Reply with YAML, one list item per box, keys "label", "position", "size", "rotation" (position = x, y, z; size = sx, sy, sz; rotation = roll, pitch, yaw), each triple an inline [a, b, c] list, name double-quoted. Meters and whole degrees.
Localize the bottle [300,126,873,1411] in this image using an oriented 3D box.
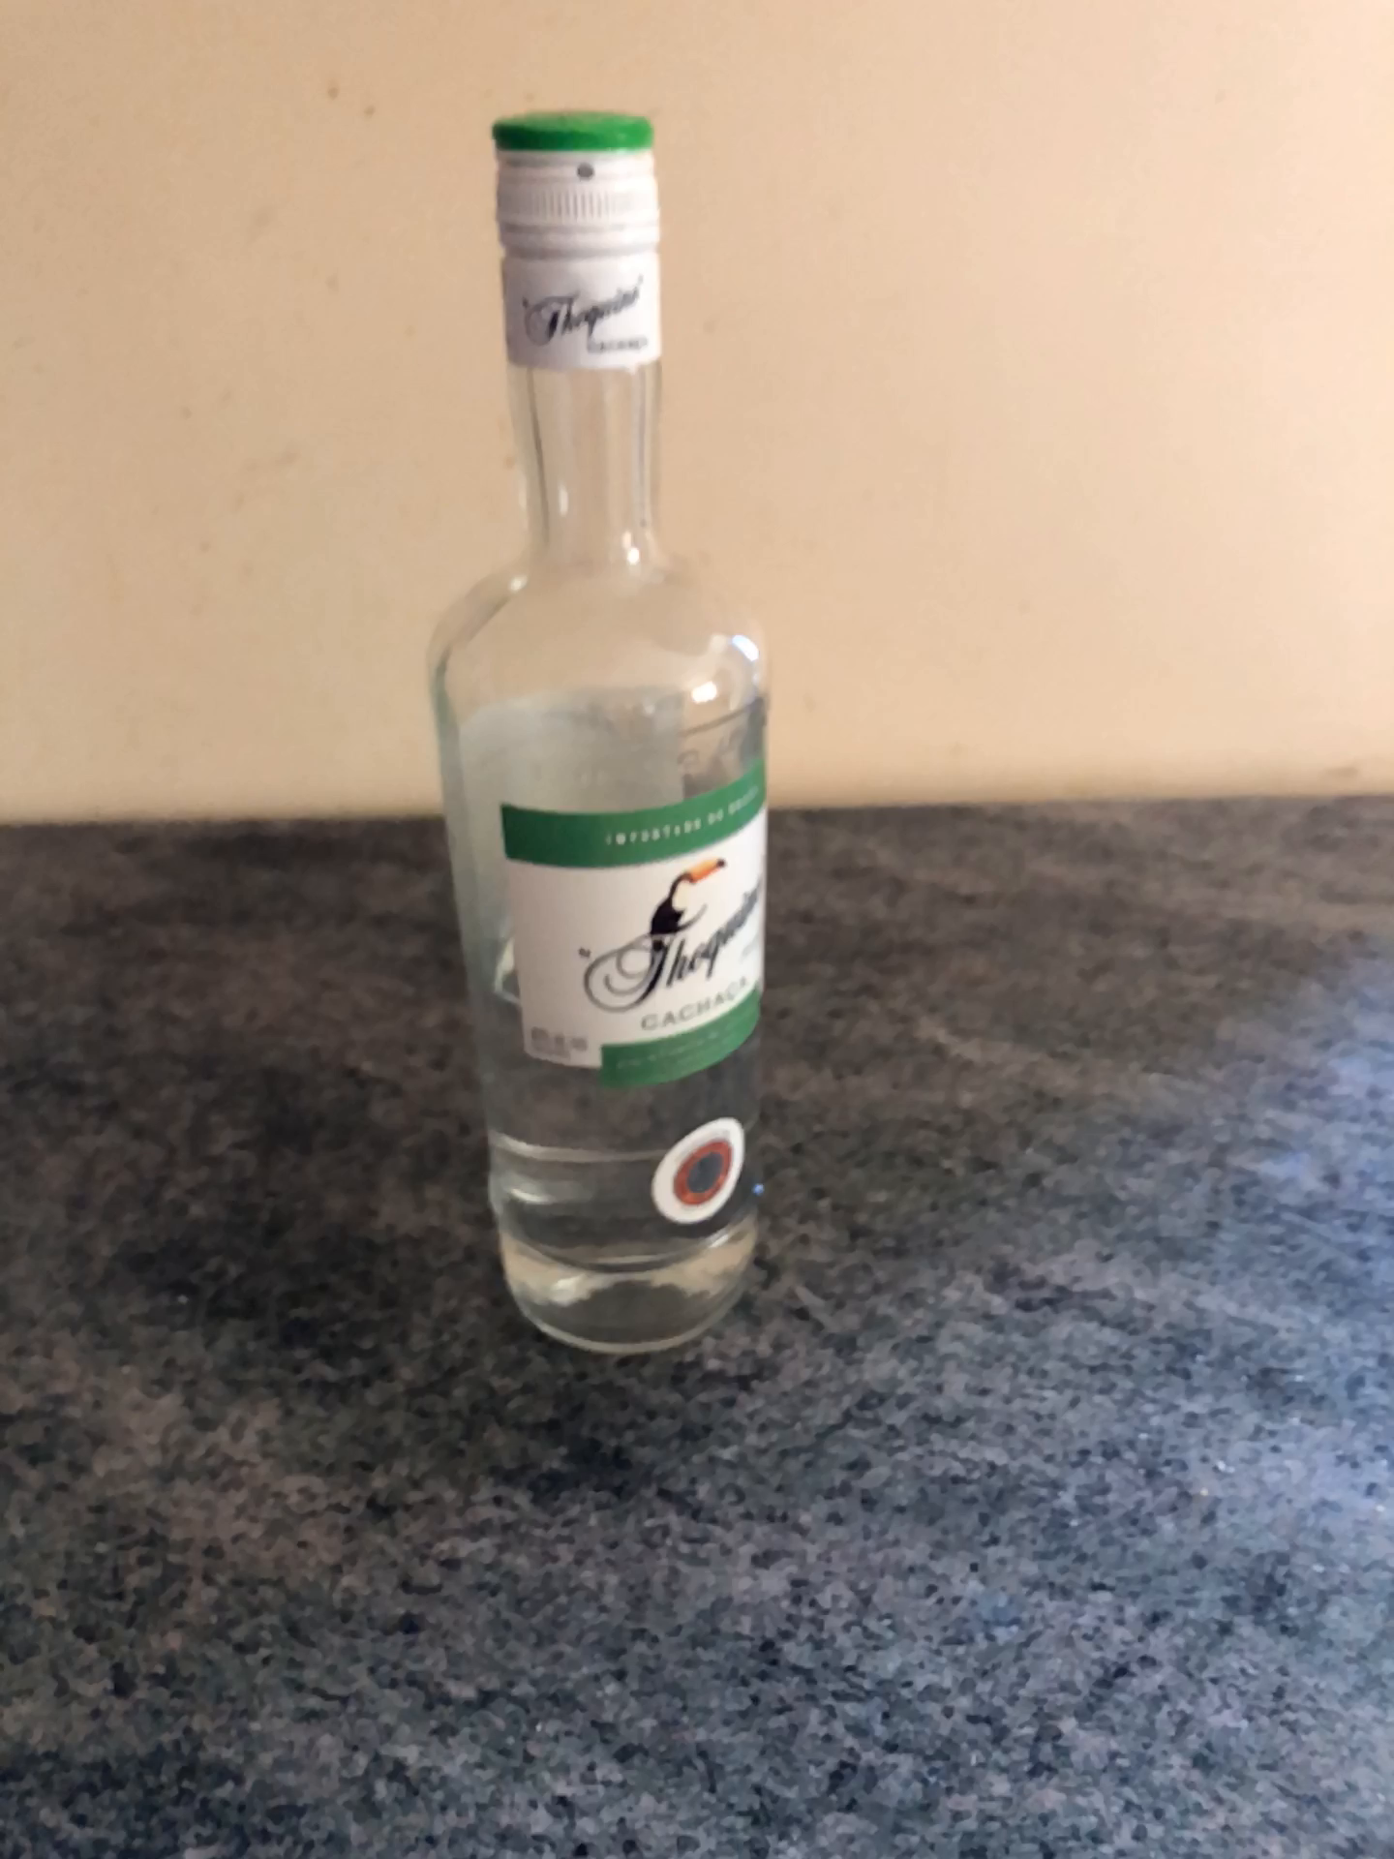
- label: "bottle"
  position: [-0.022, -0.032, 0.366]
  size: [0.080, 0.278, 0.080]
  rotation: [0, 28, 0]
